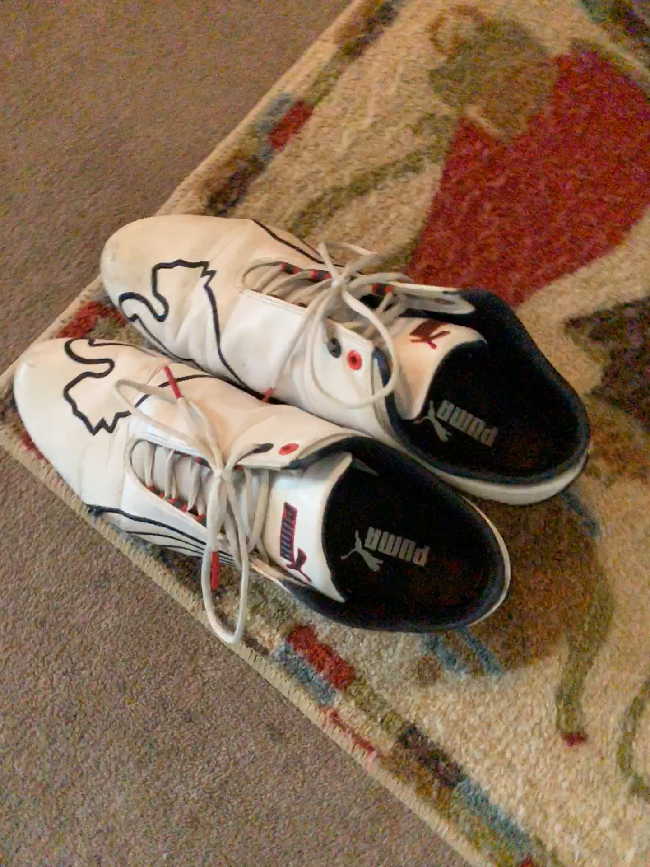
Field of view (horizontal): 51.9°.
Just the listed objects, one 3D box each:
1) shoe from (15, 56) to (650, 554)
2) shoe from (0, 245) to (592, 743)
[{"bbox_3d":[0.010,-0.054,0.356,0.290,0.107,0.100,29,82,-1],"label":"shoe"},{"bbox_3d":[-0.038,0.030,0.338,0.290,0.107,0.100,25,82,-1],"label":"shoe"}]
